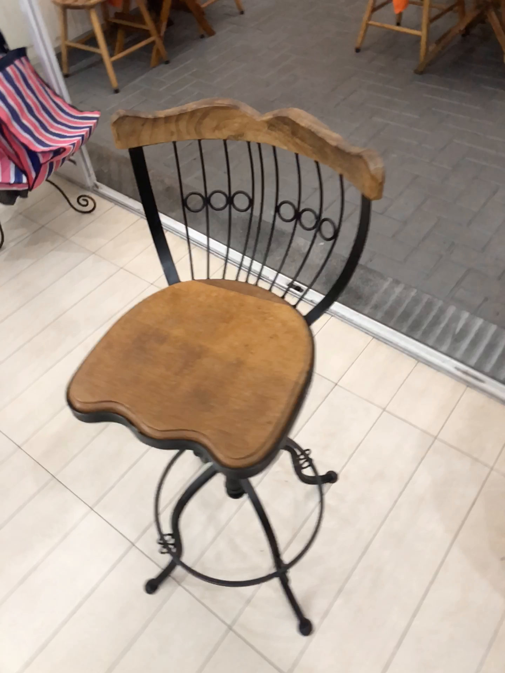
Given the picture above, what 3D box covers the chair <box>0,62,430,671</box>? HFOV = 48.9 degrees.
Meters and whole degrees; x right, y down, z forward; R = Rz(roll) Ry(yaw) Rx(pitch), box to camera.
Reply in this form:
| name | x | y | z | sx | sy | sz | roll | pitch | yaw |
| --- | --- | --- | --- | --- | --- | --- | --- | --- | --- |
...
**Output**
| name | x | y | z | sx | sy | sz | roll | pitch | yaw |
| --- | --- | --- | --- | --- | --- | --- | --- | --- | --- |
| chair | -0.054 | 0.116 | 0.940 | 0.461 | 0.894 | 0.473 | 15 | 52 | 19 |
